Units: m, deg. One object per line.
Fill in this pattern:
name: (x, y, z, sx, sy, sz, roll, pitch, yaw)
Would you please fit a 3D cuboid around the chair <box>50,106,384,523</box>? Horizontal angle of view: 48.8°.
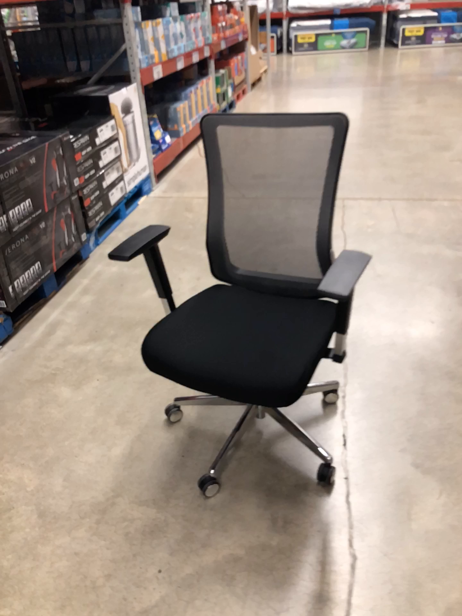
chair: (0.060, -0.027, 1.571, 0.690, 0.987, 0.712, 5, 32, 15)
